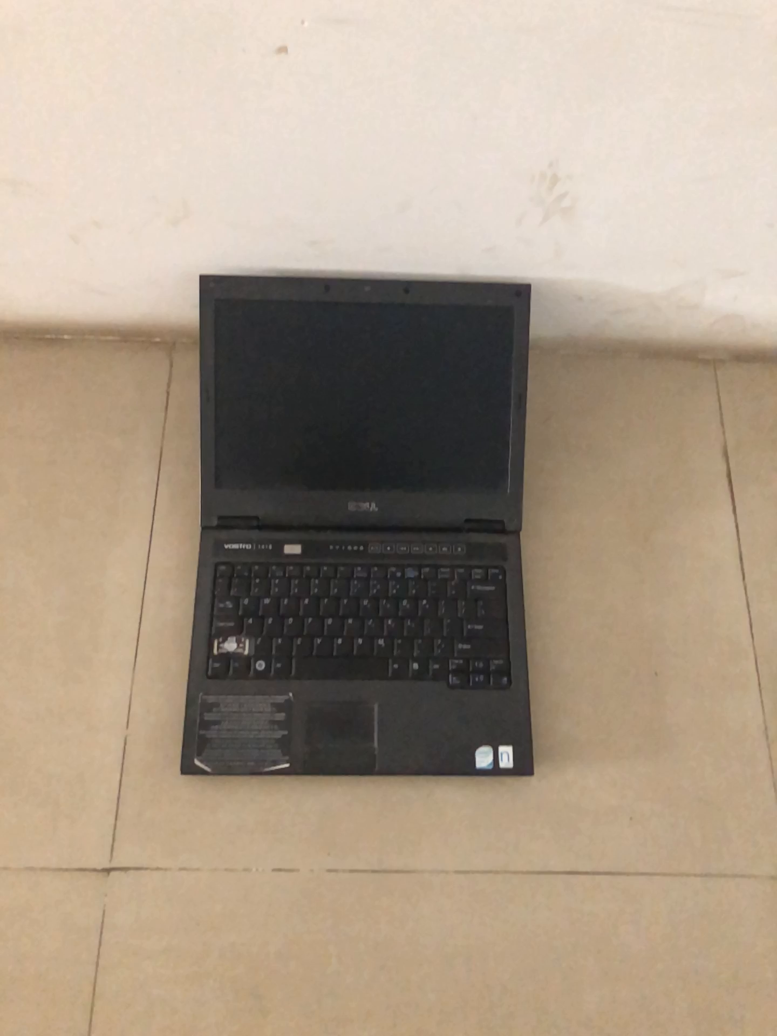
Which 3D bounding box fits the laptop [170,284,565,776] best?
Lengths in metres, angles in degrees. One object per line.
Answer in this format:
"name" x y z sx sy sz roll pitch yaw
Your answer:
"laptop" -0.017 0.005 0.777 0.299 0.114 0.433 1 69 -1
